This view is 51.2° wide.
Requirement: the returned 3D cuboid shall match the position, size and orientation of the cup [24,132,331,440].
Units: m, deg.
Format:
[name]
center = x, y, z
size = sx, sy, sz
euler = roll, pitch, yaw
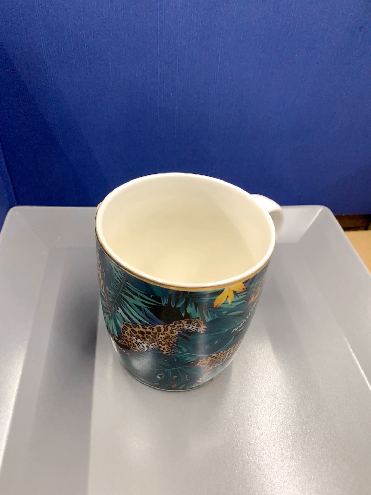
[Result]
[cup]
center = 0.001, 0.009, 0.220
size = 0.093, 0.091, 0.126
euler = 29, 45, 29
